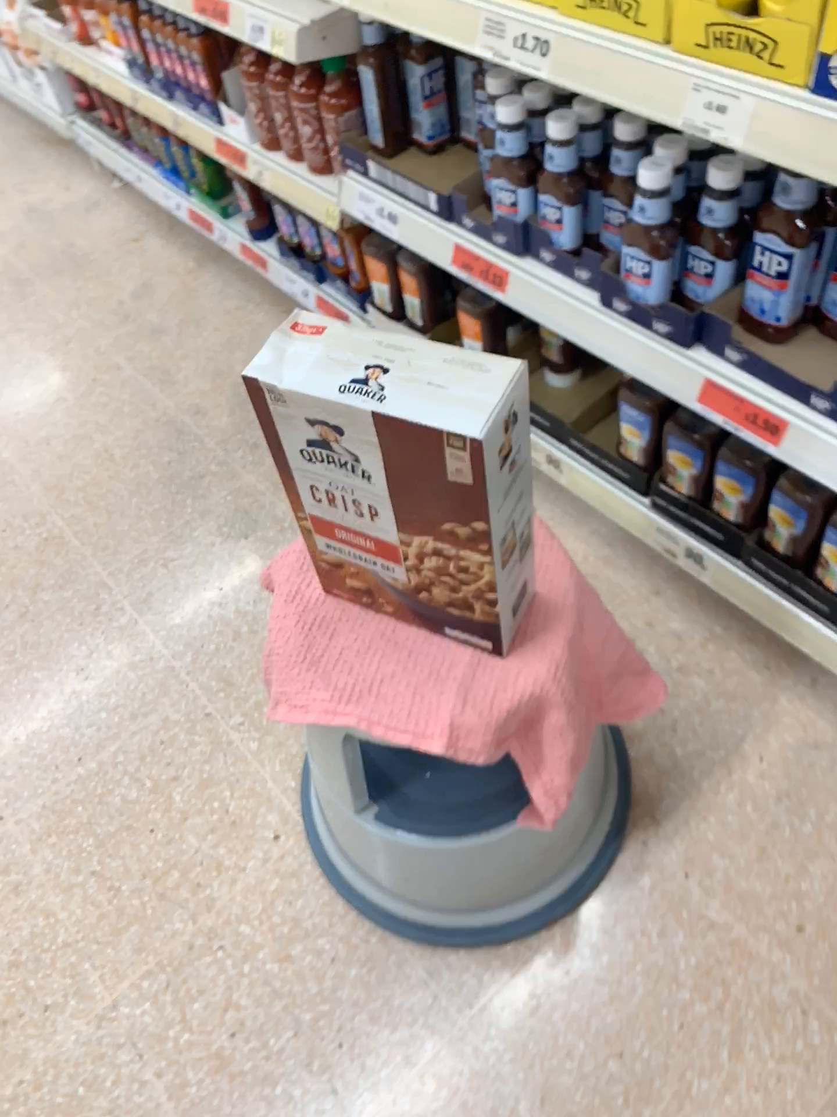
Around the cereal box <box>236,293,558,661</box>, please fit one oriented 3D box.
[{"bbox_3d":[0.000,-0.054,0.679,0.191,0.268,0.090,18,59,22],"label":"cereal box"}]
